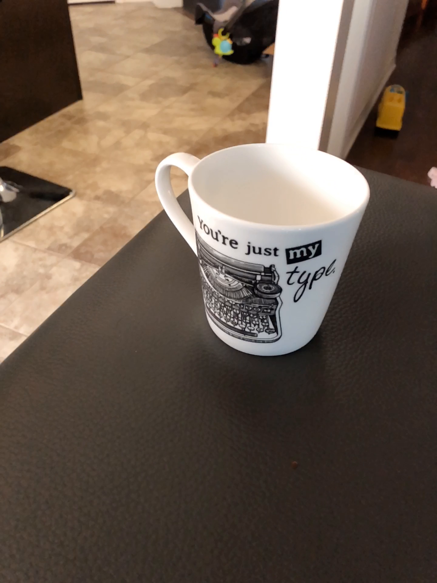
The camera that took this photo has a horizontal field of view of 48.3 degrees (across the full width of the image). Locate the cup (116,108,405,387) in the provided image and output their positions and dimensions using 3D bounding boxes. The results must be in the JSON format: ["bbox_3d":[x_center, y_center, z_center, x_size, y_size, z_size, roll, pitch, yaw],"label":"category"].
[{"bbox_3d":[0.018,-0.031,0.269,0.117,0.089,0.081,29,48,28],"label":"cup"}]
